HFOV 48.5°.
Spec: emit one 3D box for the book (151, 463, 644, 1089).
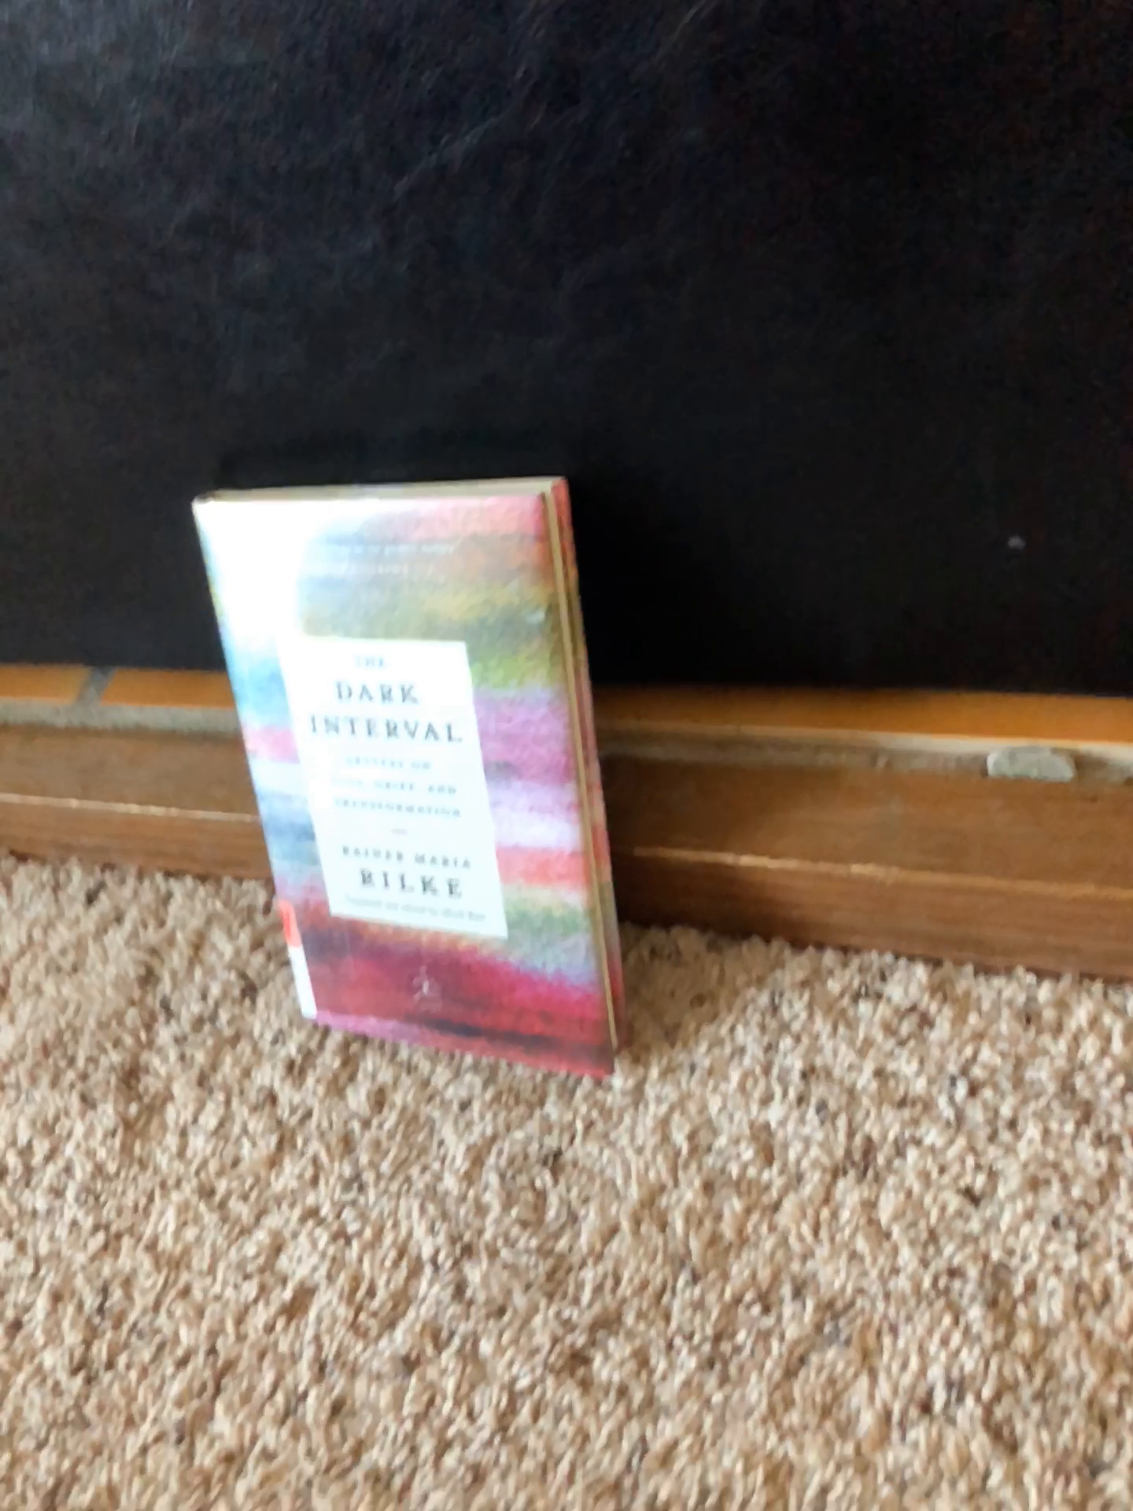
[{"bbox_3d":[-0.051,0.007,0.403,0.136,0.190,0.030,4,23,24],"label":"book"}]
